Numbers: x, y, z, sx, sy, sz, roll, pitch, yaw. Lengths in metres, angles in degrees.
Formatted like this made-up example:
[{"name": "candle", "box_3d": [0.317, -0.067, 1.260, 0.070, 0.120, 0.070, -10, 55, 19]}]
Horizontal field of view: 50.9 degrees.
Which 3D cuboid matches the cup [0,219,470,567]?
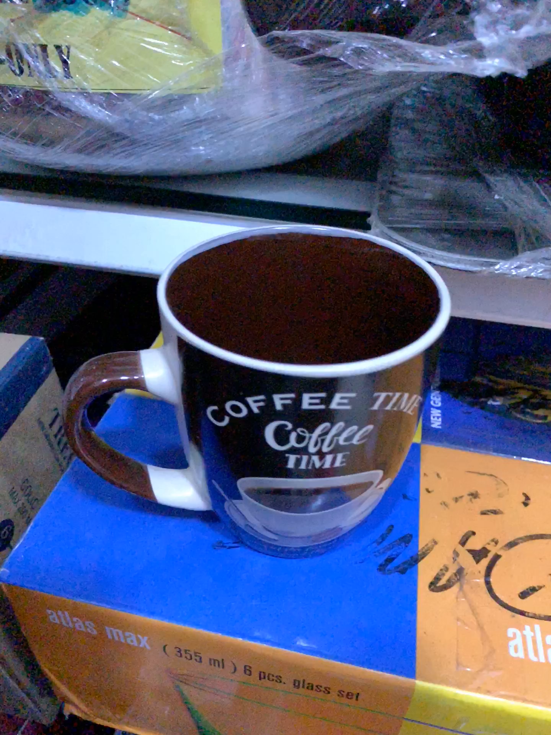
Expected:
[{"name": "cup", "box_3d": [-0.012, 0.006, 0.185, 0.110, 0.079, 0.071, -2, 38, -4]}]
